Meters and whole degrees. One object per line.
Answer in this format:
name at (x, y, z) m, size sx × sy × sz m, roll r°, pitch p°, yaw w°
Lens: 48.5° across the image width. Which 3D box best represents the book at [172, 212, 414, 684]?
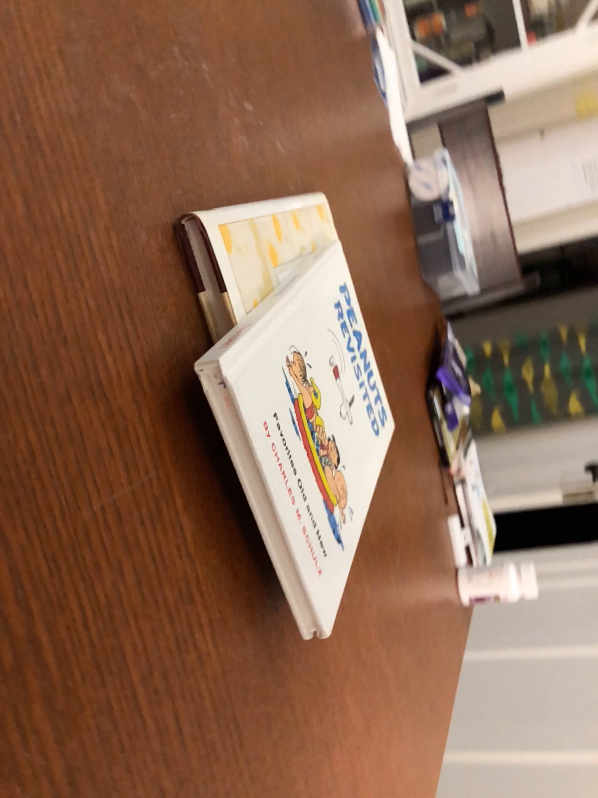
book at (0.018, 0.005, 0.347) m, size 0.211 × 0.020 × 0.160 m, roll -60°, pitch 134°, yaw -59°
